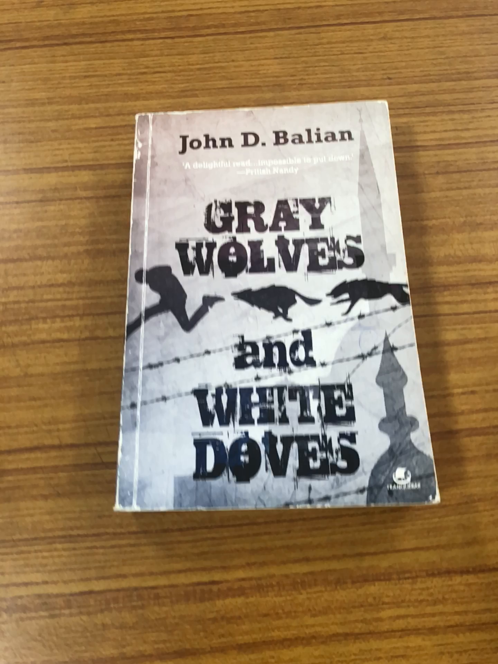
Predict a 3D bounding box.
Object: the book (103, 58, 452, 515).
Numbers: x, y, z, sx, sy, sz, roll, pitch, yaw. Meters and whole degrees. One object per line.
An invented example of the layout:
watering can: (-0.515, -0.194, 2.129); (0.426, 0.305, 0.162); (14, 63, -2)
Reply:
book: (0.009, -0.027, 0.256); (0.130, 0.030, 0.210); (-2, 71, 4)
